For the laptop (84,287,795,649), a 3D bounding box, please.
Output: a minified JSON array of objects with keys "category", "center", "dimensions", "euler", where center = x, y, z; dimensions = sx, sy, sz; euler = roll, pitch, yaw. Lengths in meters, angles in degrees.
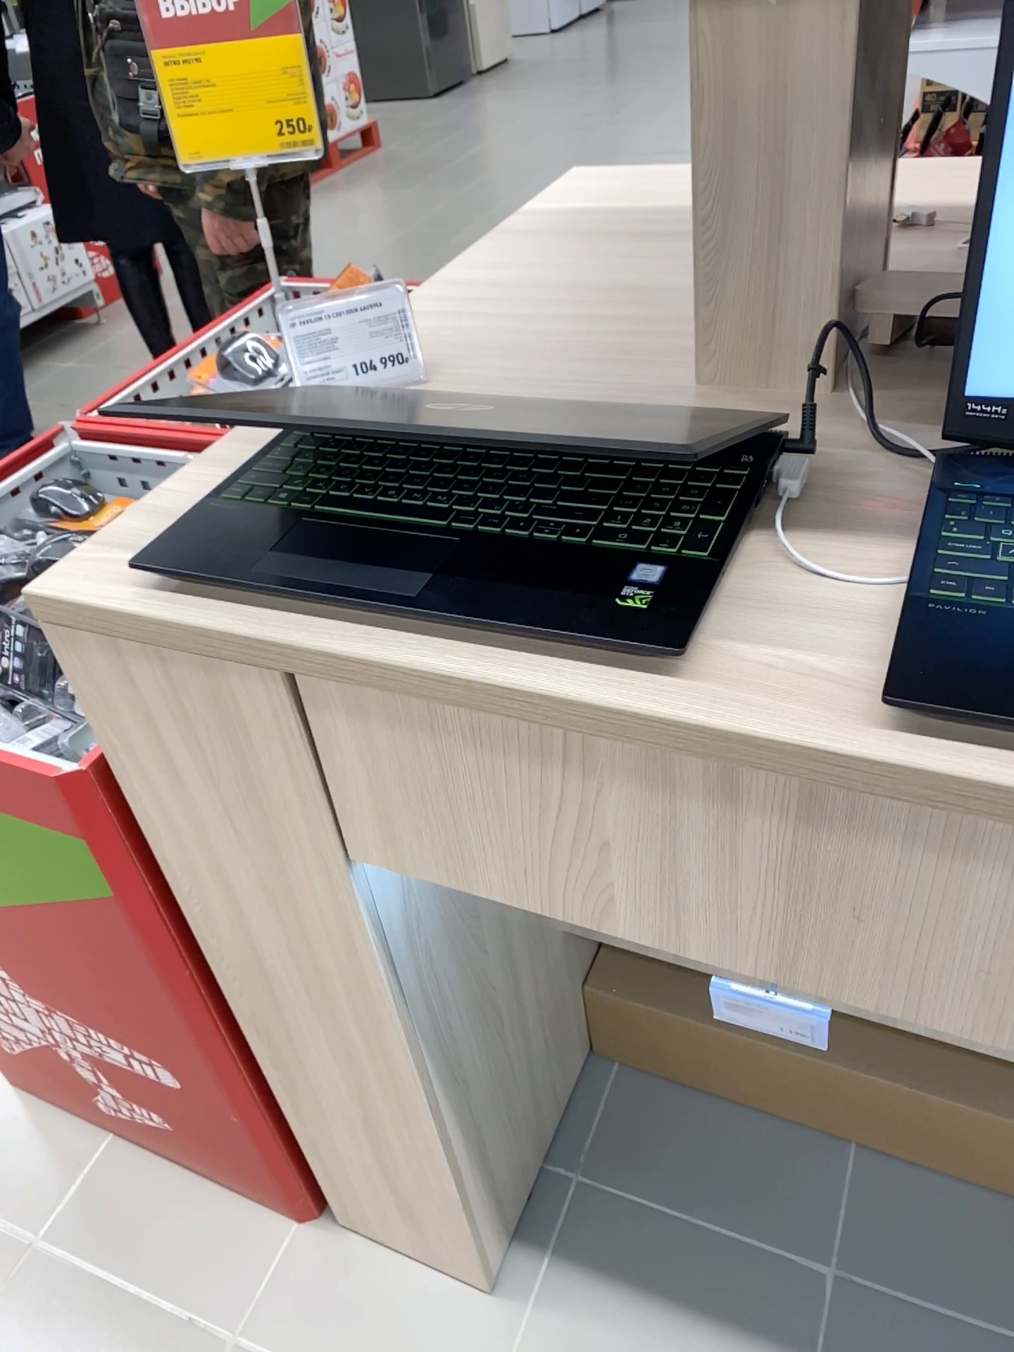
[{"category":"laptop","center":[-0.032,-0.153,0.649],"dimensions":[0.366,0.086,0.241],"euler":[10,43,23]}]
